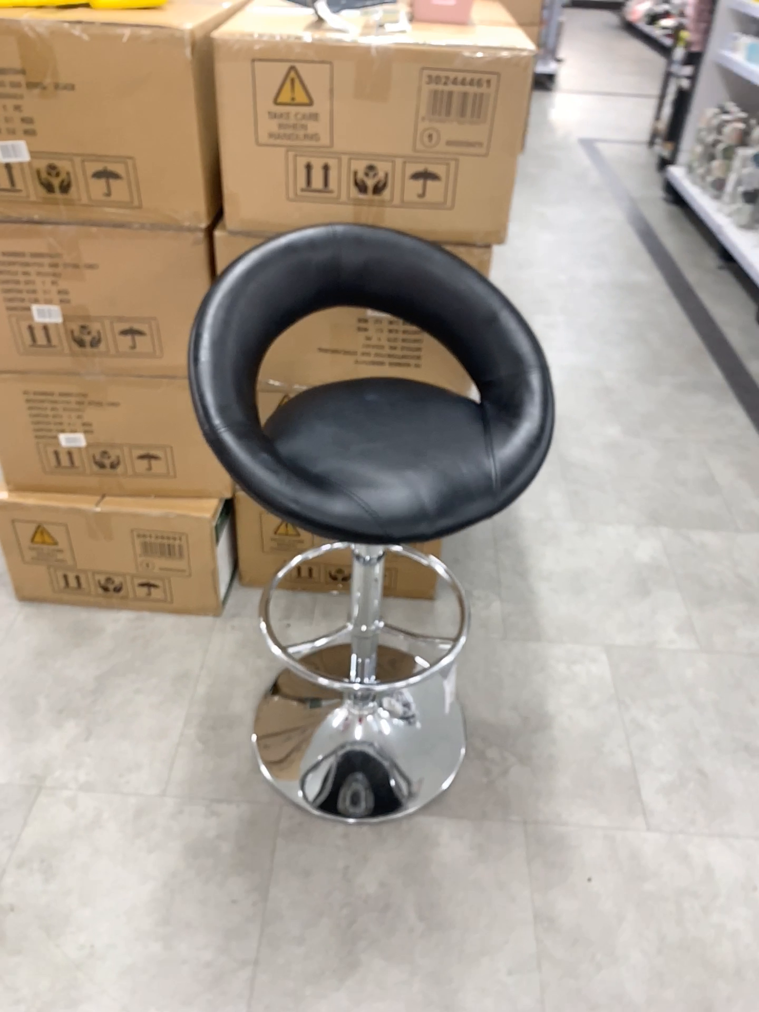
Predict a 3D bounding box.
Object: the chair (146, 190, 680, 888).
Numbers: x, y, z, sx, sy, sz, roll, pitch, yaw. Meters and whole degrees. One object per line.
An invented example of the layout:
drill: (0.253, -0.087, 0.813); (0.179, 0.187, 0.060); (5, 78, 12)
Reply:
chair: (-0.005, 0.062, 1.273); (0.510, 0.933, 0.486); (-14, 41, -22)
